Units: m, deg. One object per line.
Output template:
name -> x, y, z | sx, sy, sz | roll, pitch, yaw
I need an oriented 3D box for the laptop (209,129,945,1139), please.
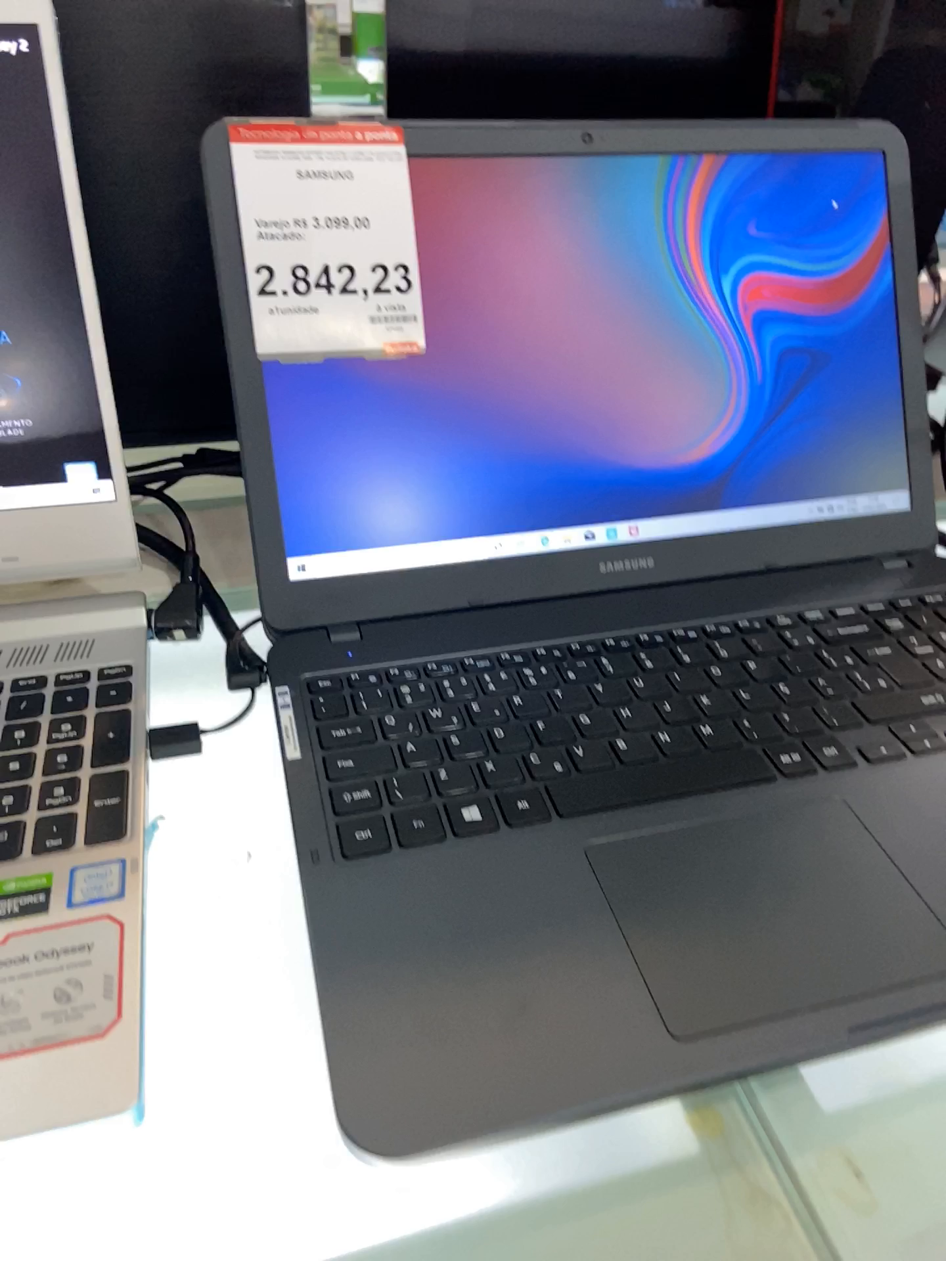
laptop -> 0.100, -0.068, 0.398 | 0.366, 0.193, 0.371 | -7, 36, -13
